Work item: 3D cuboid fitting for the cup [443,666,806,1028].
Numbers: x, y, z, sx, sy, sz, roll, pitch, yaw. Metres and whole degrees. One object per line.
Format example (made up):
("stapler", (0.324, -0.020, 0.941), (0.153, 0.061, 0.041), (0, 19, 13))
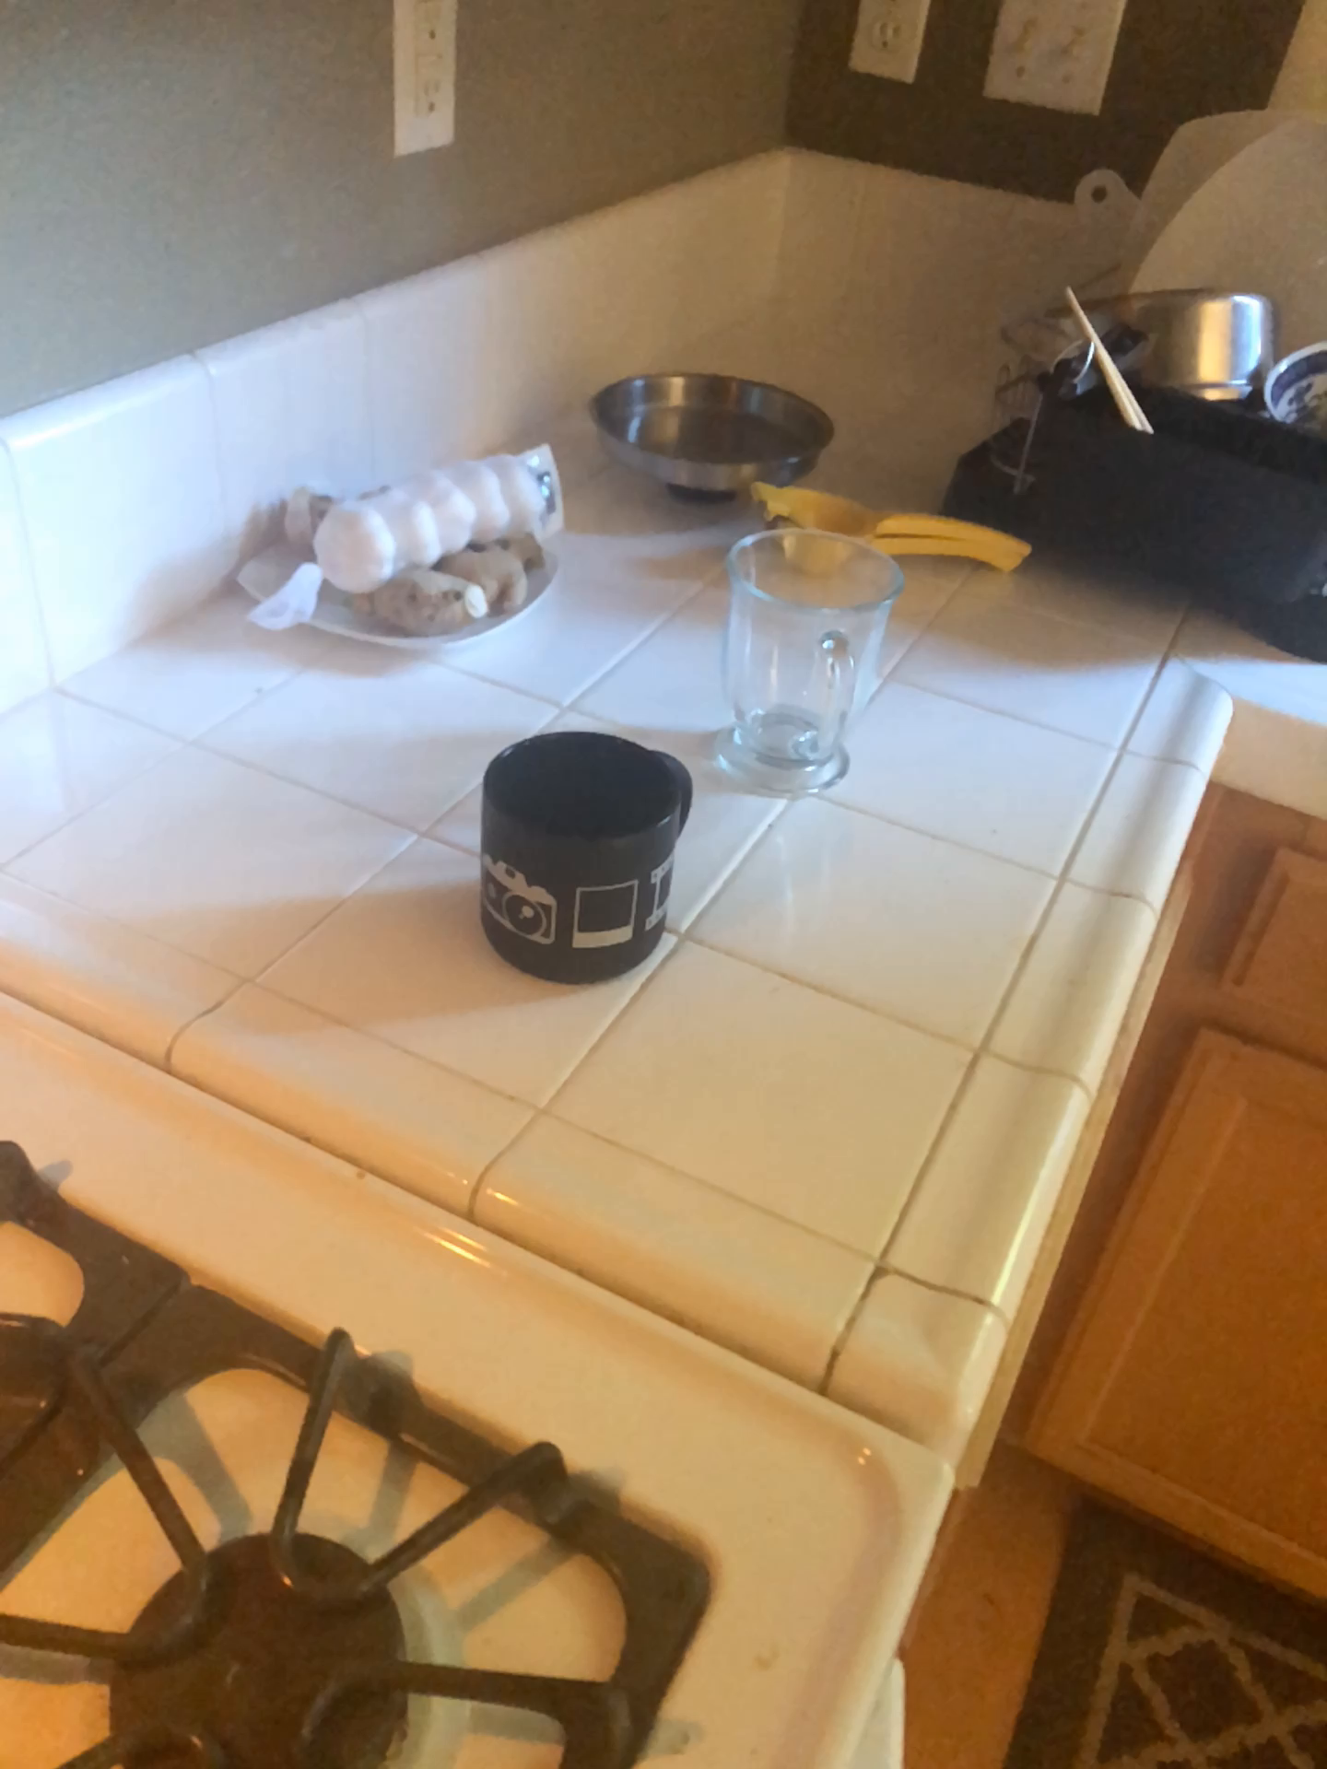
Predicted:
("cup", (-0.020, -0.022, 0.681), (0.100, 0.089, 0.131), (32, 44, 29))

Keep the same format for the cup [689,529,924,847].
("cup", (0.072, -0.110, 0.803), (0.100, 0.109, 0.141), (4, 38, -4))
